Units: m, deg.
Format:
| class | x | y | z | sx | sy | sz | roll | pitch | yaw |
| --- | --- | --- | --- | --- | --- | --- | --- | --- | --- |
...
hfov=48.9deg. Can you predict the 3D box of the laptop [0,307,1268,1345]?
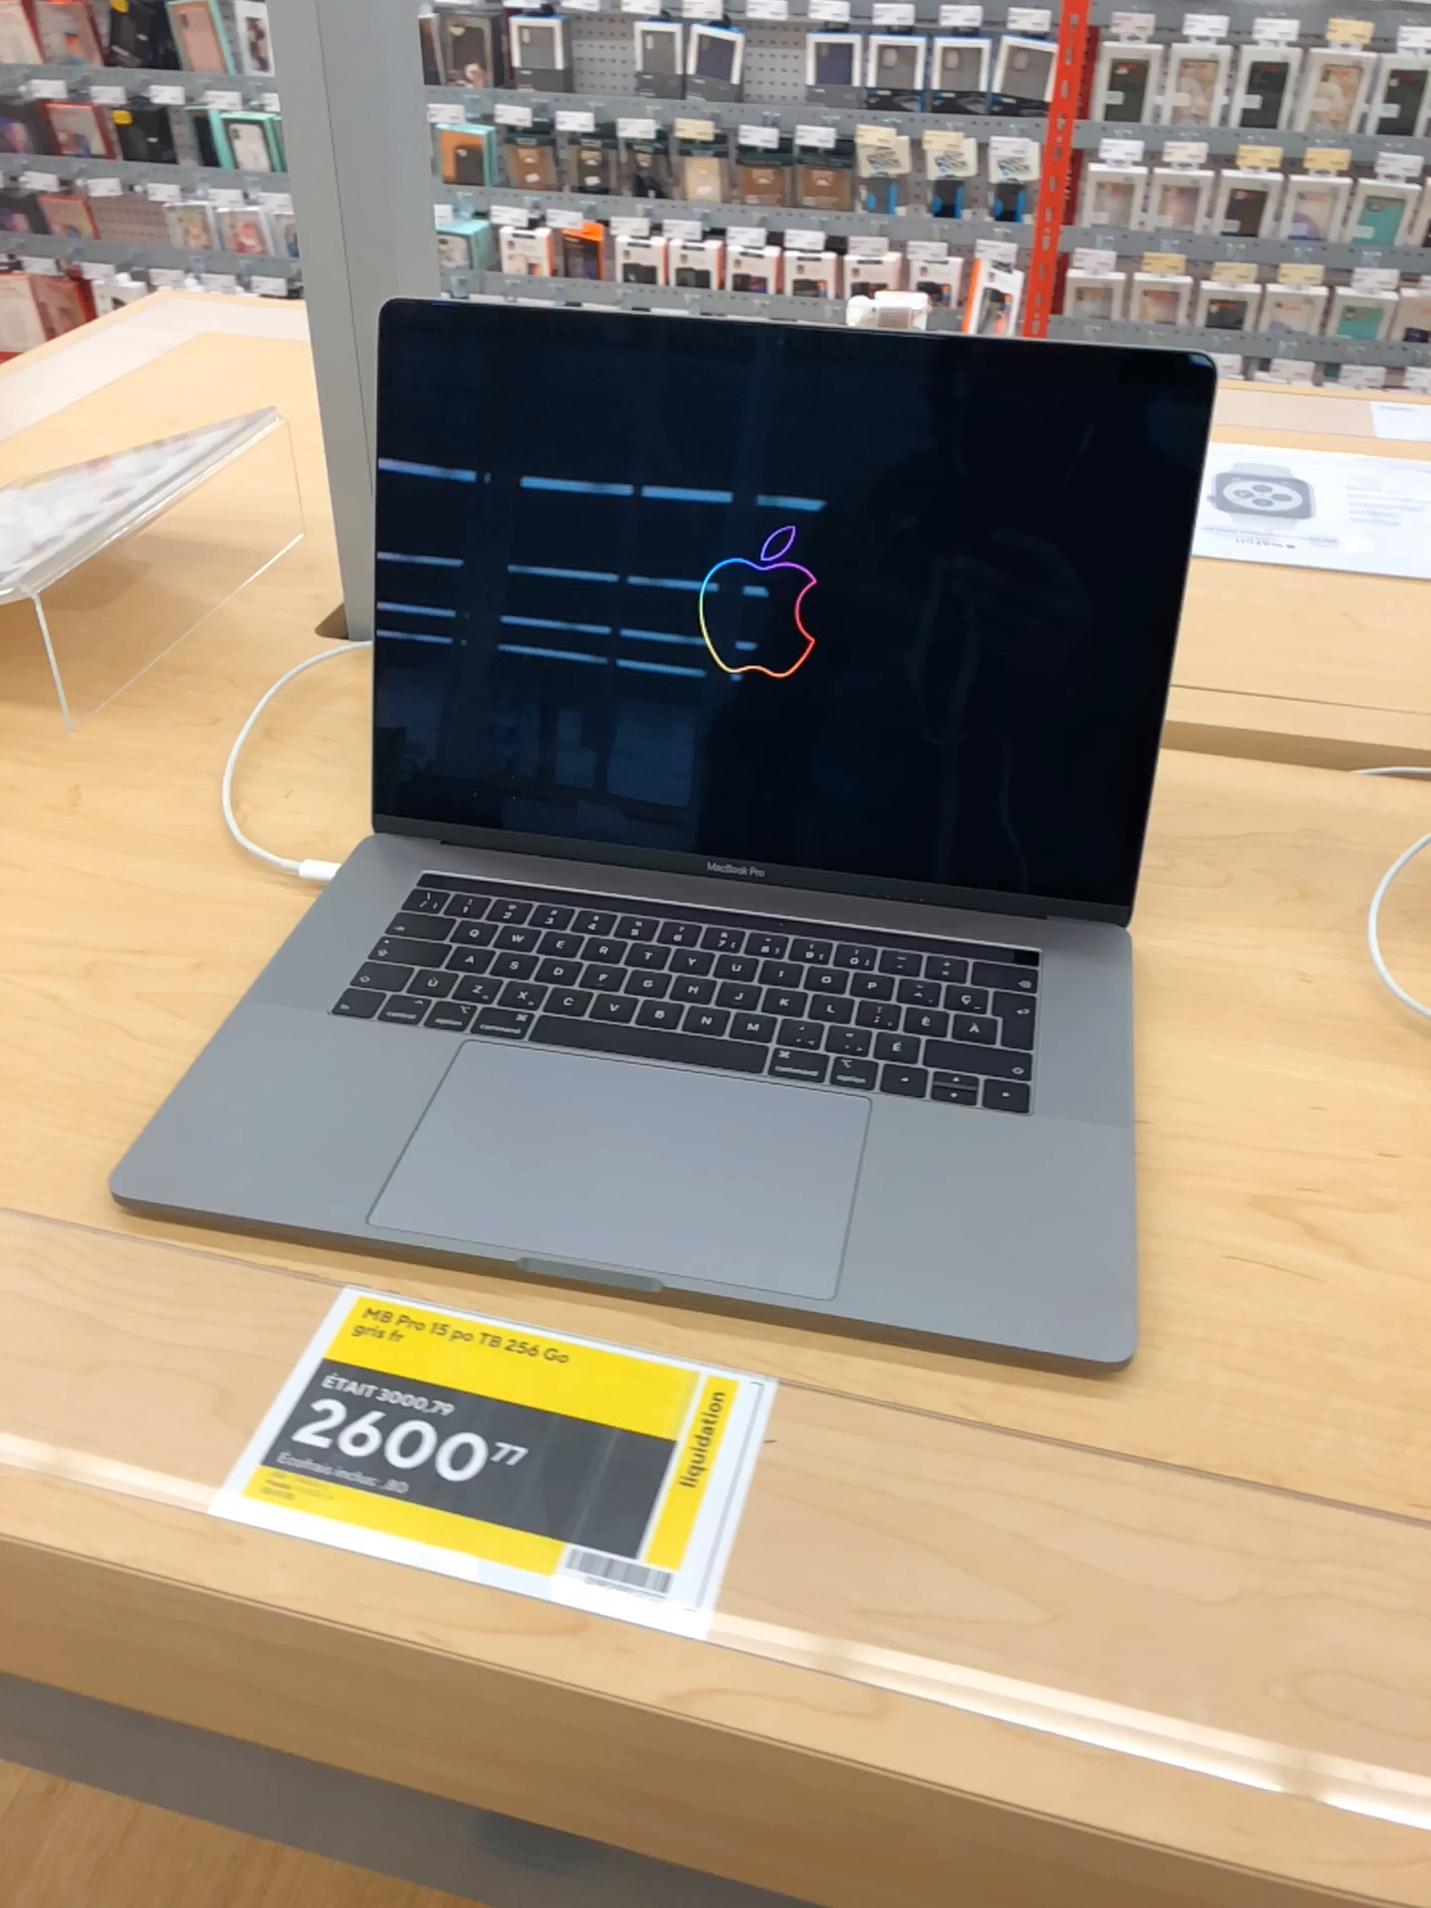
| class | x | y | z | sx | sy | sz | roll | pitch | yaw |
| --- | --- | --- | --- | --- | --- | --- | --- | --- | --- |
| laptop | -0.006 | -0.071 | 0.558 | 0.329 | 0.212 | 0.299 | 7 | 37 | 8 |
